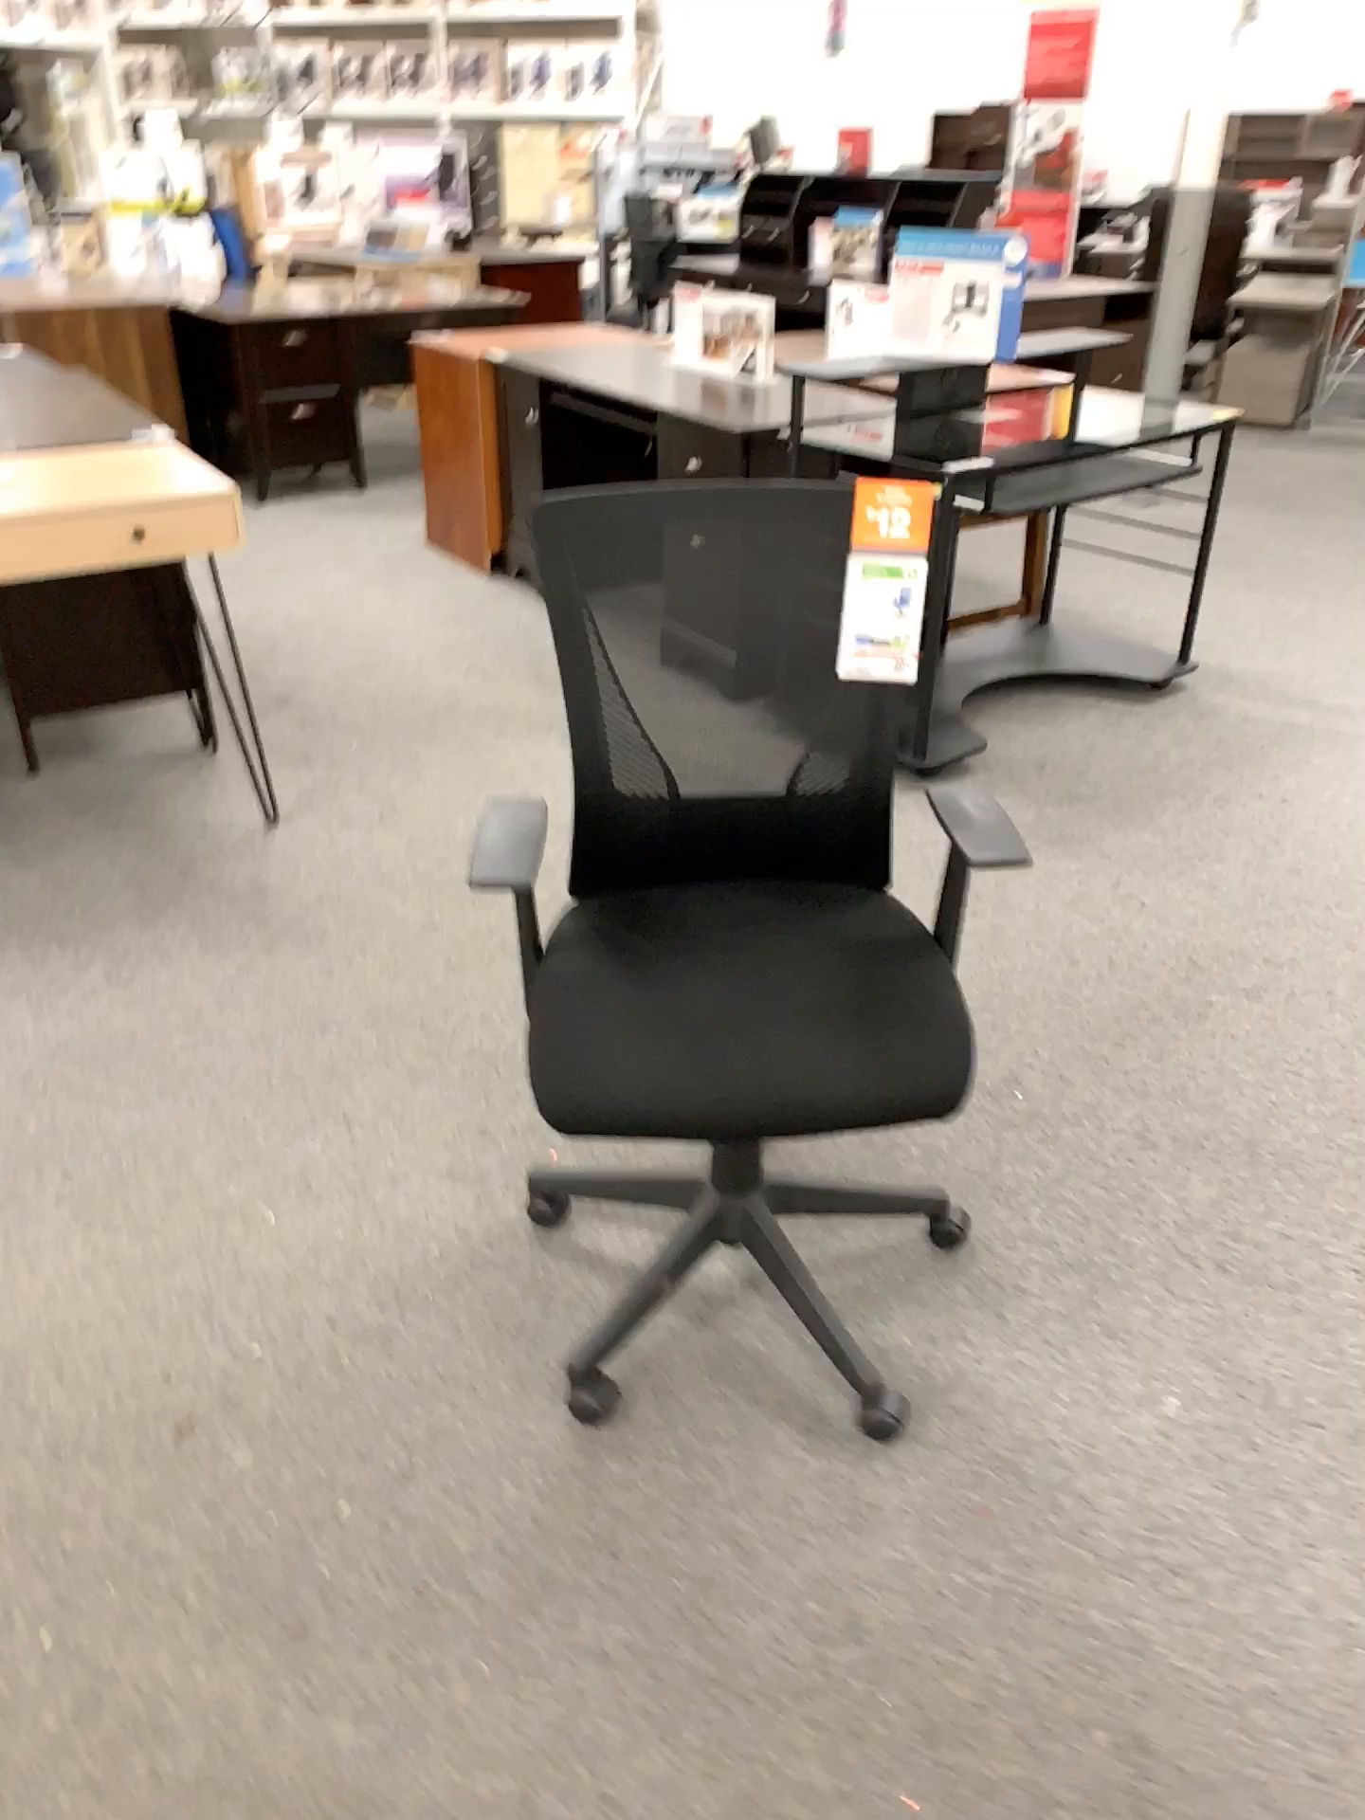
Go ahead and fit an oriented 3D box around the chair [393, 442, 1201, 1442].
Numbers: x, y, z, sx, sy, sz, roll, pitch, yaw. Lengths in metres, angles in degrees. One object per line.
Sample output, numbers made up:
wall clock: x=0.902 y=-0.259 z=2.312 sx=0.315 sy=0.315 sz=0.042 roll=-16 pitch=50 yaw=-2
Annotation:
chair: x=0.101 y=0.019 z=1.671 sx=0.670 sy=0.995 sz=0.643 roll=1 pitch=29 yaw=2
